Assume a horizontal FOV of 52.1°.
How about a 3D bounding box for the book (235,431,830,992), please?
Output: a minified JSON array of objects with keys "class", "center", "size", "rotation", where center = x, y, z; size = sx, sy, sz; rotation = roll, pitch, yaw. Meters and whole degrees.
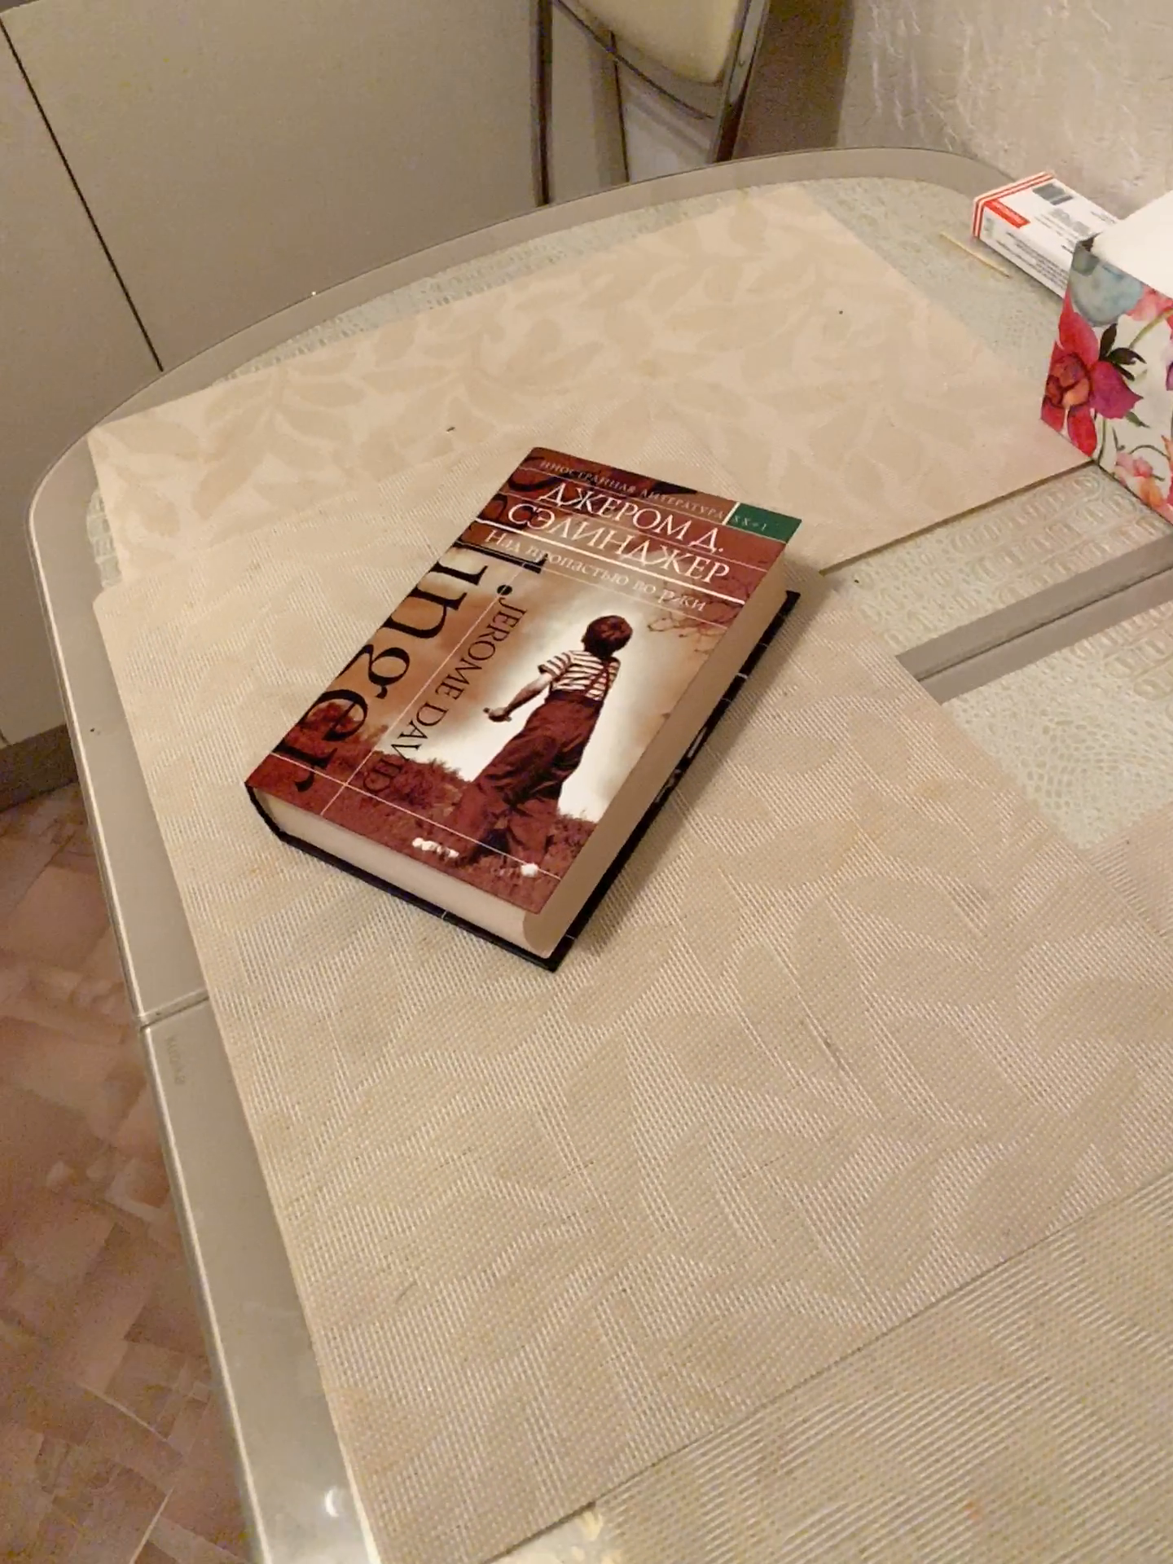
[{"class":"book","center":[-0.014,-0.044,0.505],"size":[0.150,0.049,0.221],"rotation":[22,61,24]}]
